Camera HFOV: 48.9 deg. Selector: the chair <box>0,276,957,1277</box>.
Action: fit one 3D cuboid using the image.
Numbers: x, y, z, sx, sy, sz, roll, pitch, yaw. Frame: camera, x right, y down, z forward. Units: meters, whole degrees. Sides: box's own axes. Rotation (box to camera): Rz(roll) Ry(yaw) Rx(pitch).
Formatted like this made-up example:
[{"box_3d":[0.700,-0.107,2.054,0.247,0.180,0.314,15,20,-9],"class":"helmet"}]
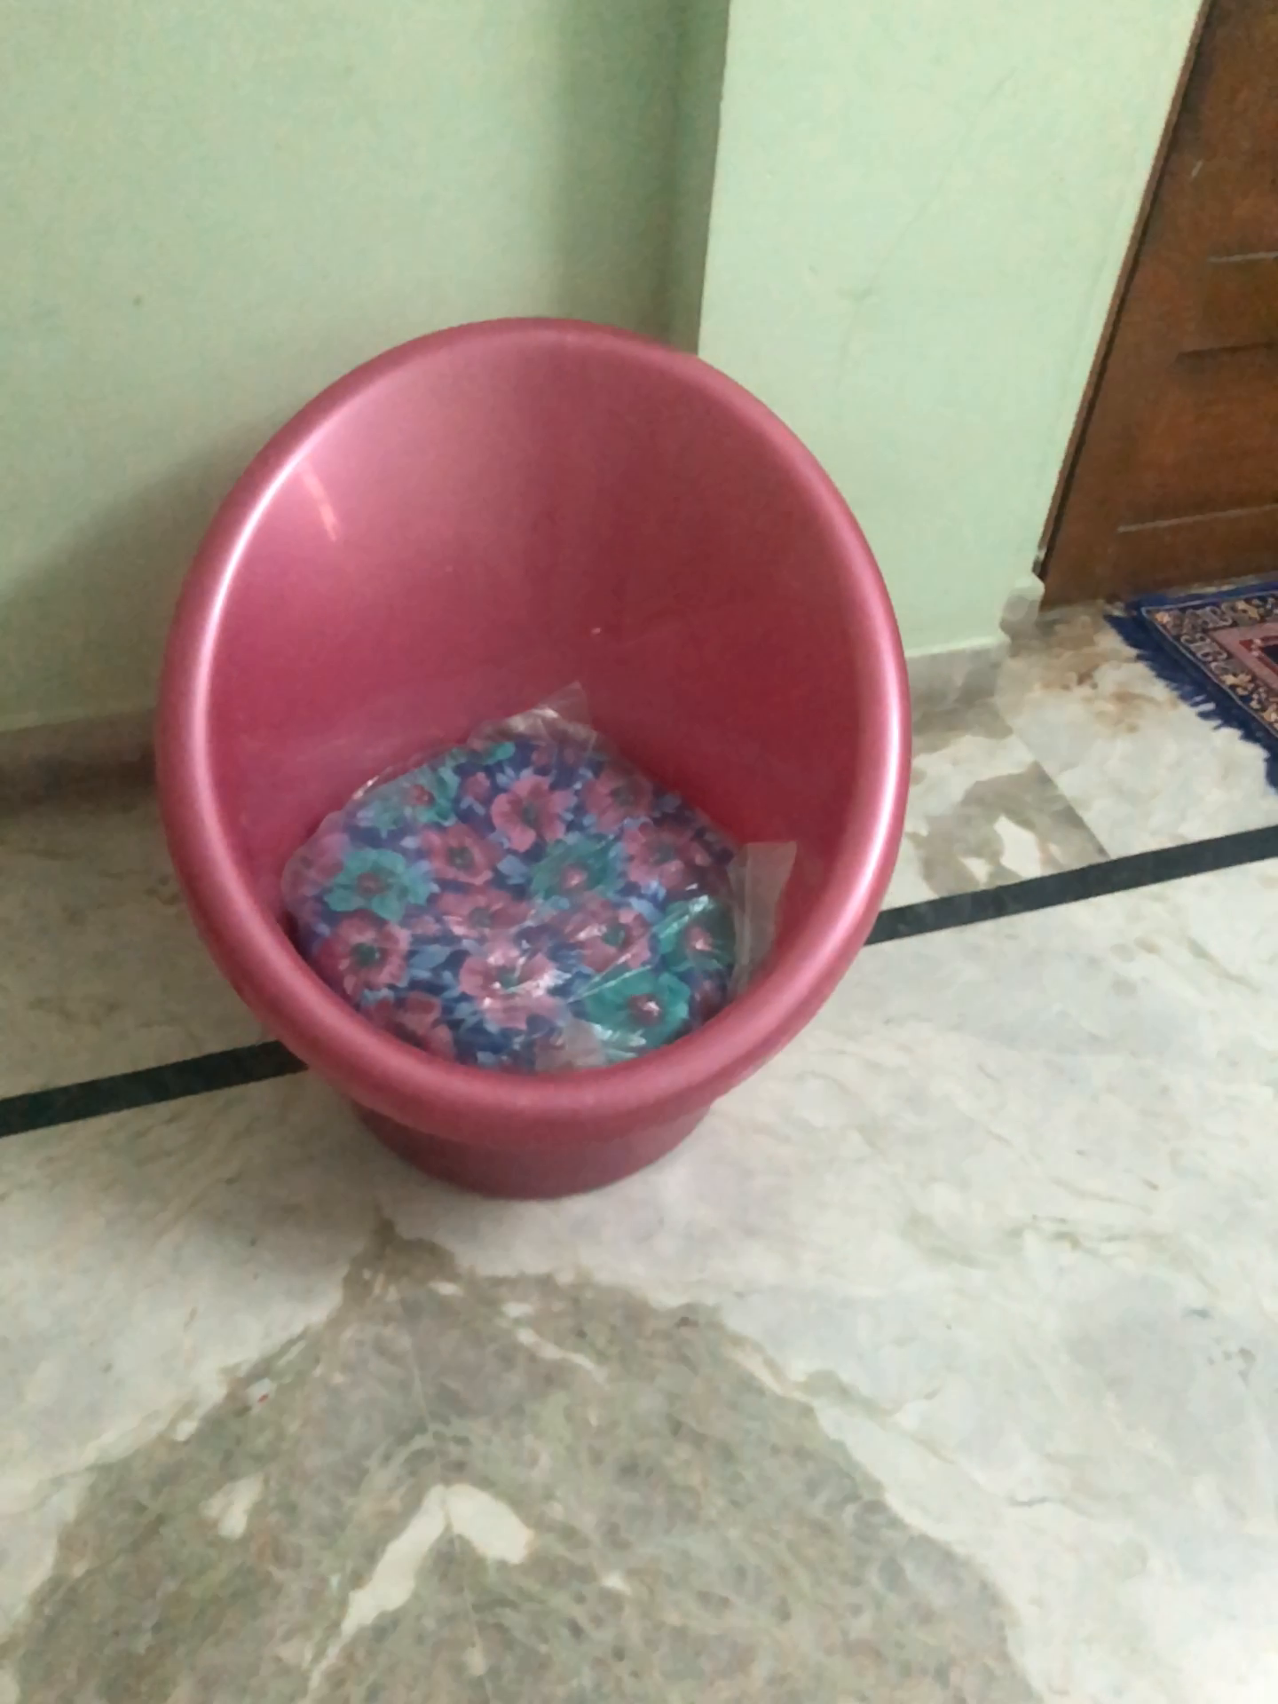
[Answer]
[{"box_3d":[-0.097,-0.094,1.296,0.640,0.547,0.664,8,44,3],"class":"chair"}]
